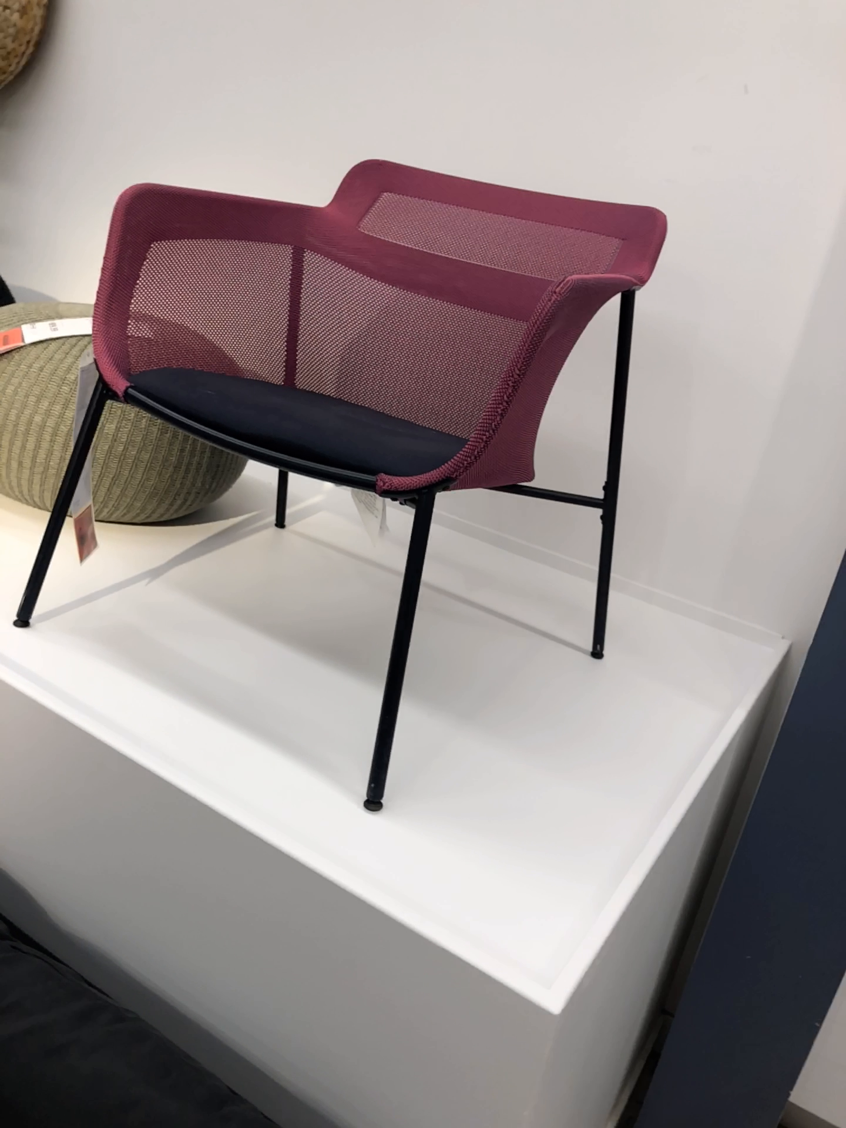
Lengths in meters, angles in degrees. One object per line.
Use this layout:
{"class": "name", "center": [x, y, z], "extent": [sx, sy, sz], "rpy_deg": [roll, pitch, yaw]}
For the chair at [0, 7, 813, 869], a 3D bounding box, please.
{"class": "chair", "center": [0.011, -0.264, 1.438], "extent": [0.780, 0.747, 1.013], "rpy_deg": [21, 22, 24]}
